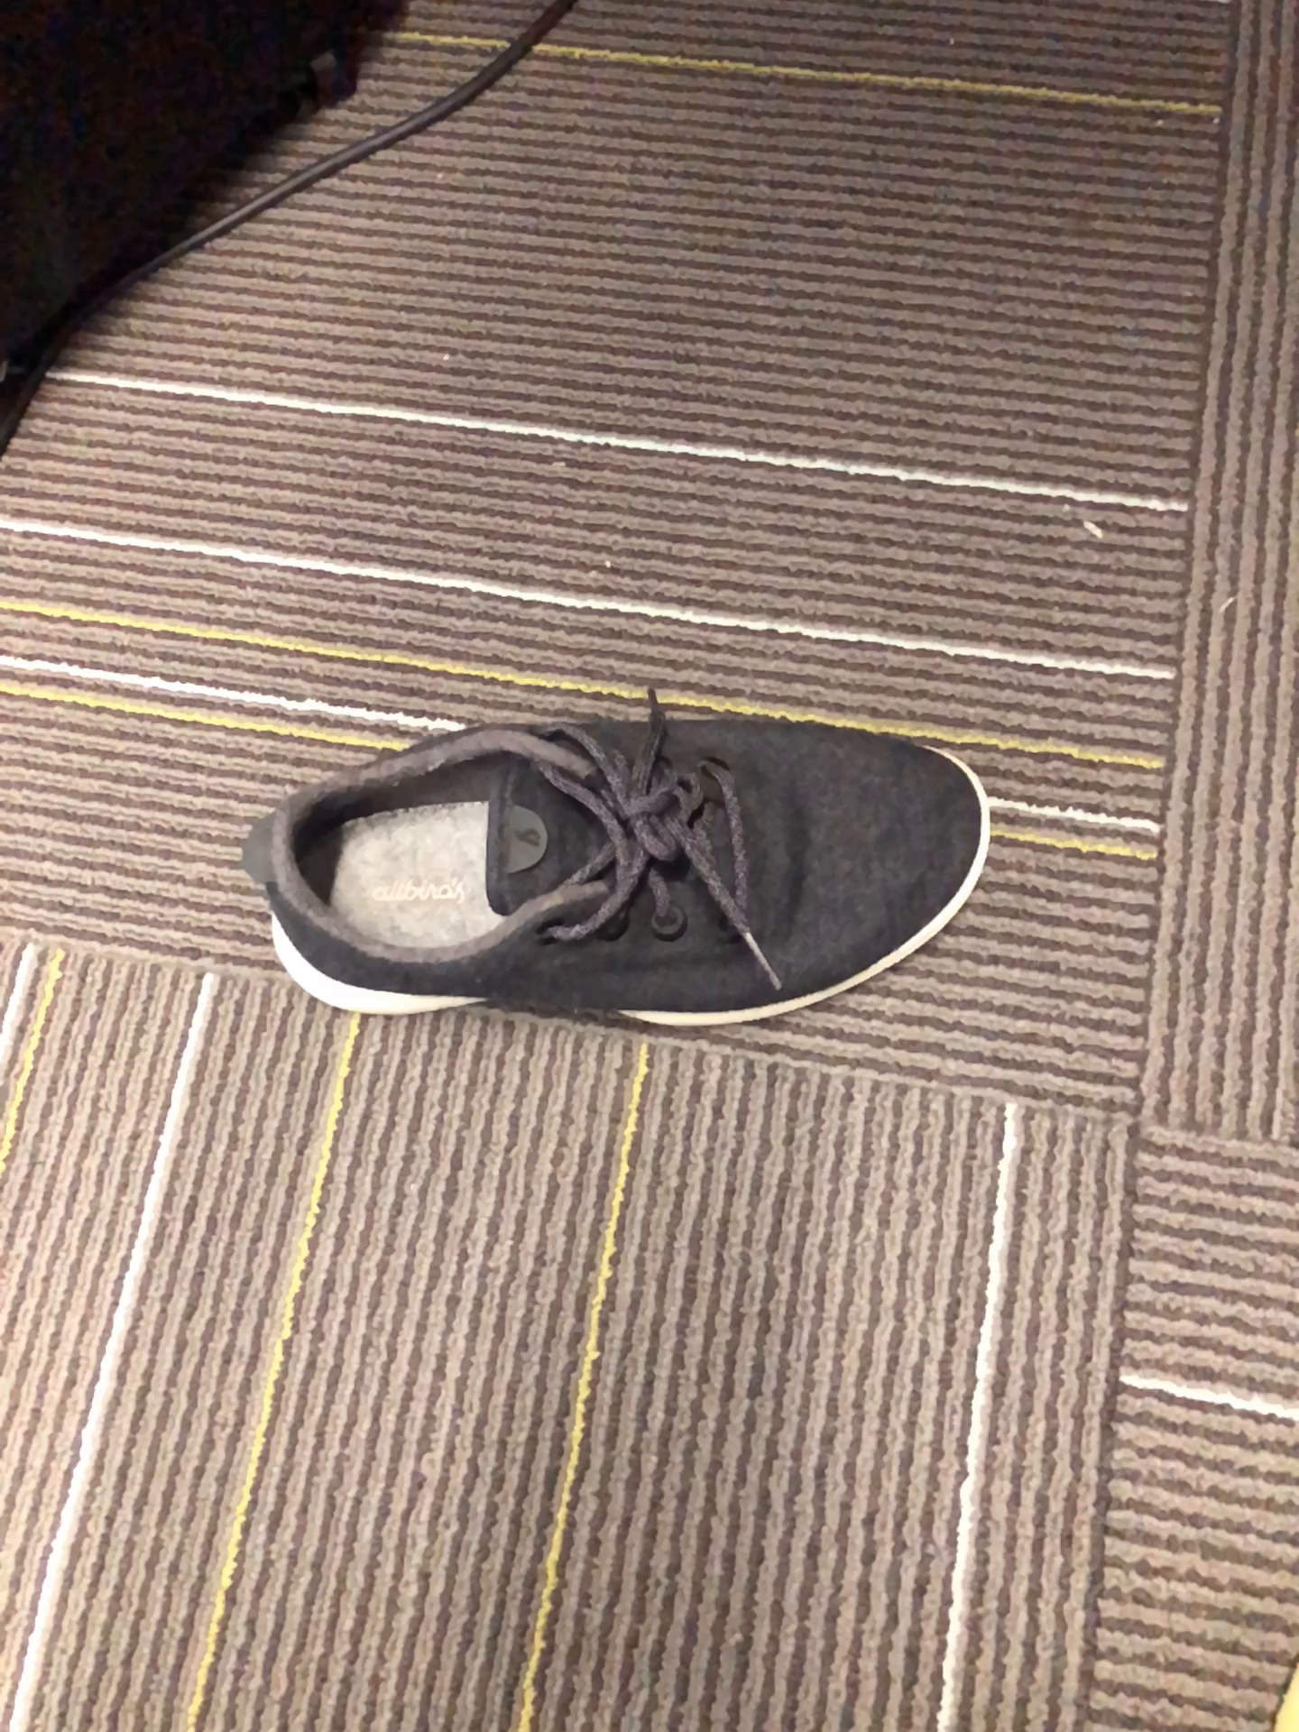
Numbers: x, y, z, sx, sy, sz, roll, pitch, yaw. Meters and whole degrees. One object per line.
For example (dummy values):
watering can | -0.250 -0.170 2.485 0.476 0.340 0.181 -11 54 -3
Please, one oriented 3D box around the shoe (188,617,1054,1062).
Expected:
shoe | -0.012 -0.005 0.496 0.270 0.070 0.120 -4 74 3
